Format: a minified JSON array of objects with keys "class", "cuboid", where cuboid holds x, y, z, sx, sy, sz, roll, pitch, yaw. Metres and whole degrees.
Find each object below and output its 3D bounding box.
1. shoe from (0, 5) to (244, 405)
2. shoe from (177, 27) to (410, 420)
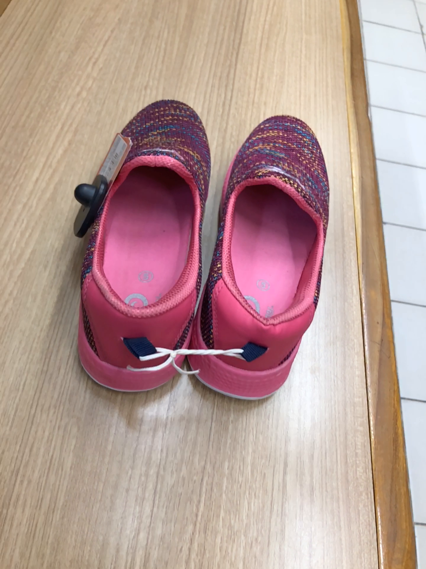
[{"class":"shoe","cuboid":[-0.044,-0.060,0.320,0.105,0.103,0.245,7,59,-5]},{"class":"shoe","cuboid":[0.055,-0.050,0.332,0.105,0.103,0.245,13,58,-2]}]
